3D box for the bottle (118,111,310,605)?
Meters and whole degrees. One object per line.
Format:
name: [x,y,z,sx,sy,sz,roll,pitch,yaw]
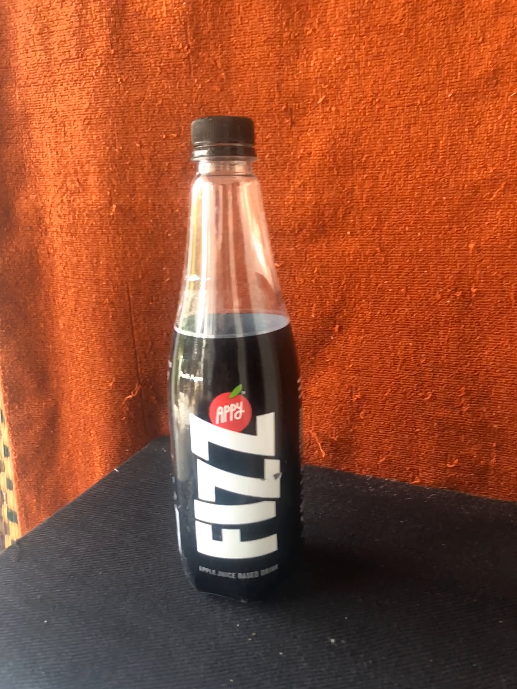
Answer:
bottle: [-0.014,0.011,0.270,0.070,0.219,0.060,-1,17,1]
